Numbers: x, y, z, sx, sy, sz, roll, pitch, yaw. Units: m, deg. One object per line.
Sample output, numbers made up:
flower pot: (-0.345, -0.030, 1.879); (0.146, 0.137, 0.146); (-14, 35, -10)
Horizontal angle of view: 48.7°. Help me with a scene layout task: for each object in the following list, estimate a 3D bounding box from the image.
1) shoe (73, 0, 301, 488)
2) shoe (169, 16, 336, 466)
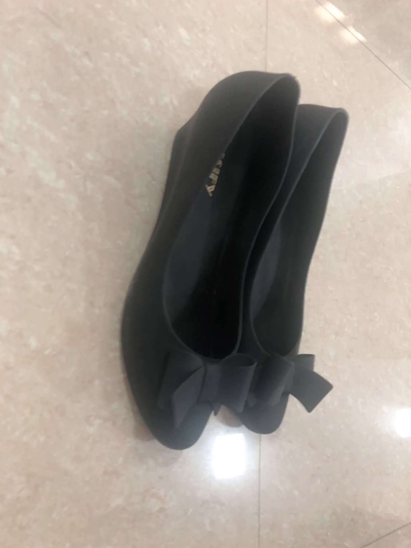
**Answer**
shoe: (-0.008, -0.032, 0.321); (0.090, 0.090, 0.310); (14, 78, -41)
shoe: (0.041, -0.024, 0.372); (0.090, 0.090, 0.310); (7, 82, -42)
